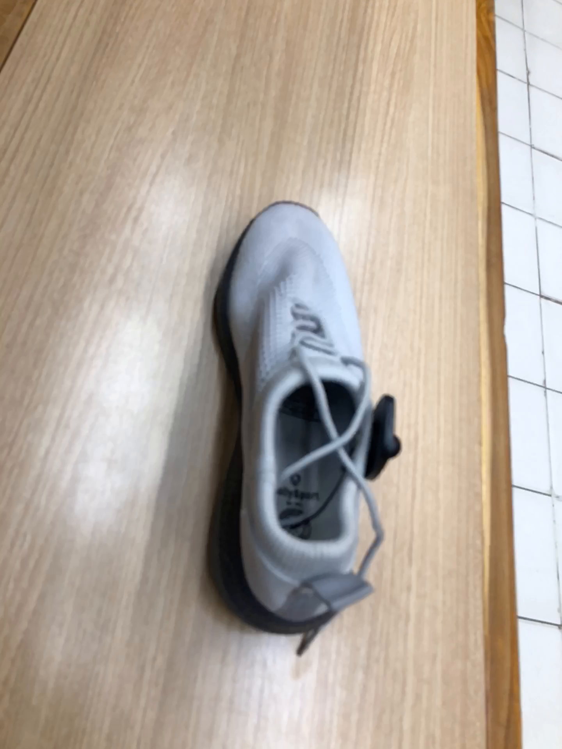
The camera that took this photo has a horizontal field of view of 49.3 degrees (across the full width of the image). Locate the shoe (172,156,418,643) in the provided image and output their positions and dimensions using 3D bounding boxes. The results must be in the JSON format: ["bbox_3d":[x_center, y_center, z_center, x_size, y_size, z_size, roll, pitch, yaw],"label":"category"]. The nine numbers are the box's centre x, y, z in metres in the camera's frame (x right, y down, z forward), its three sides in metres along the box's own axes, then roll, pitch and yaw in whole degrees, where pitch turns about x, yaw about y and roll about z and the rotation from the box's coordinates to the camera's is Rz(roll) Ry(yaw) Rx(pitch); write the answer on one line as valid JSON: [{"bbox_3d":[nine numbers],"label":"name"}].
[{"bbox_3d":[0.008,0.016,0.378,0.100,0.099,0.271,11,64,-17],"label":"shoe"}]
